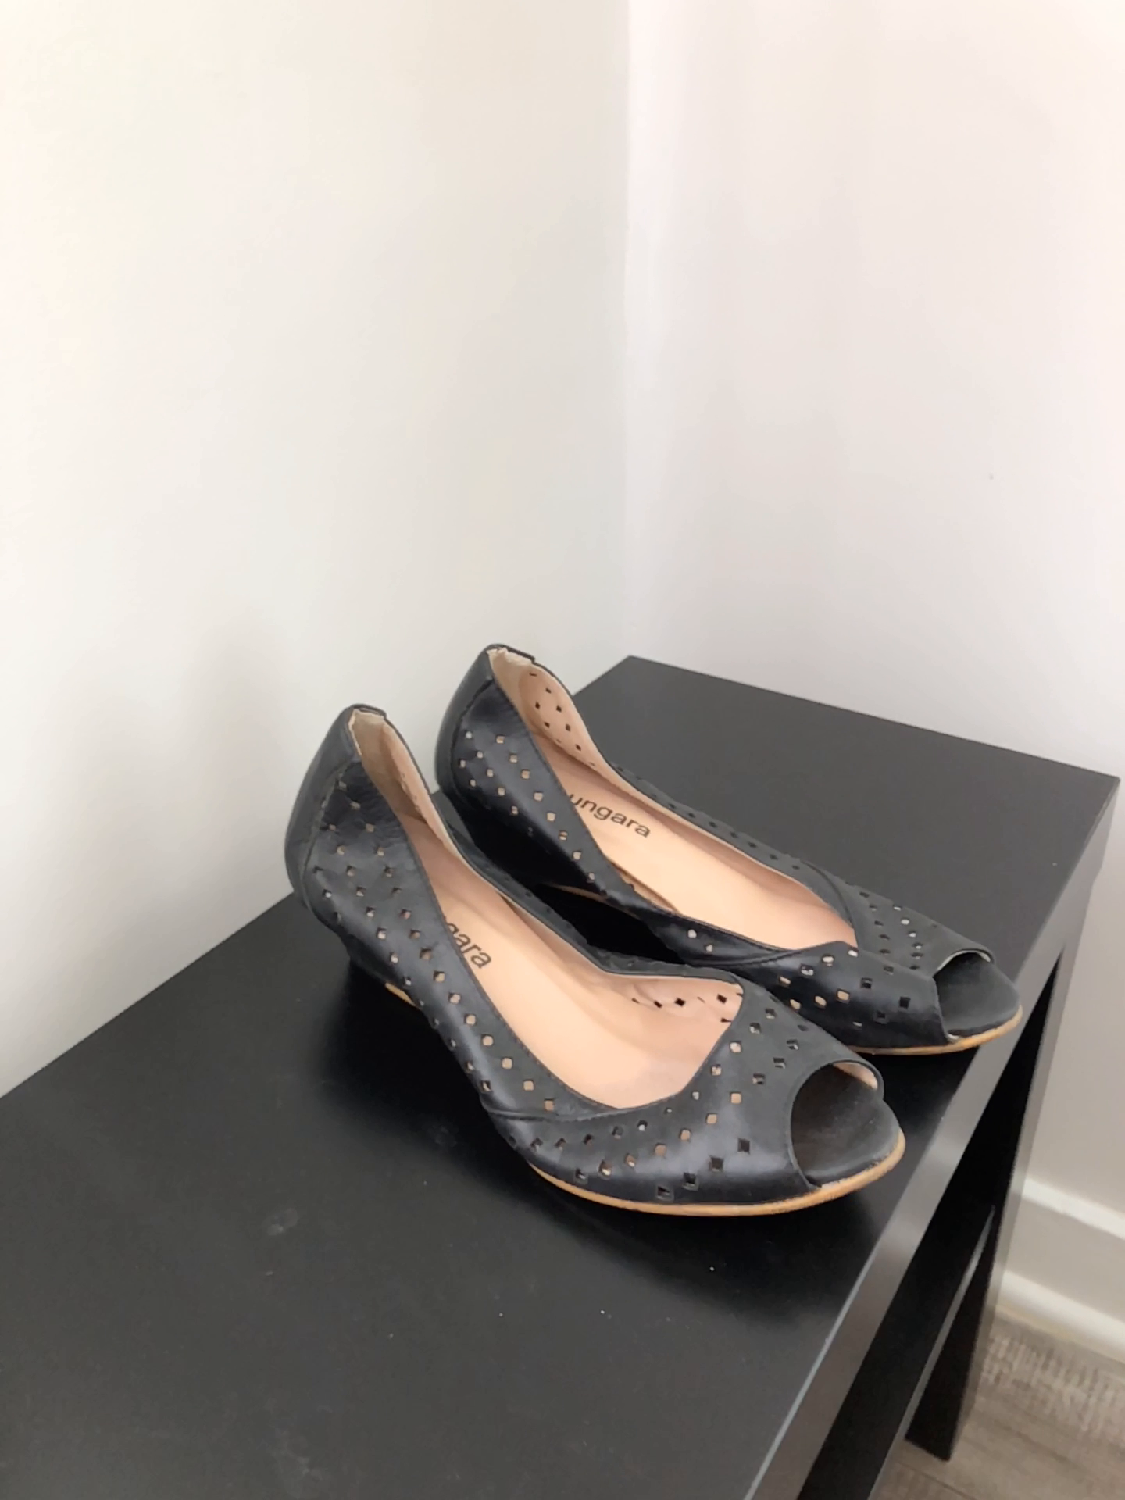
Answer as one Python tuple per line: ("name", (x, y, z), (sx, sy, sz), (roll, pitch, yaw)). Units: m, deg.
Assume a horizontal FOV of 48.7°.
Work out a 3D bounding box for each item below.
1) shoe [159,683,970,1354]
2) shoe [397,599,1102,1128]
("shoe", (-0.008, 0.067, 0.390), (0.231, 0.100, 0.085), (17, 33, 30))
("shoe", (0.058, 0.028, 0.443), (0.221, 0.100, 0.085), (16, 33, 28))
